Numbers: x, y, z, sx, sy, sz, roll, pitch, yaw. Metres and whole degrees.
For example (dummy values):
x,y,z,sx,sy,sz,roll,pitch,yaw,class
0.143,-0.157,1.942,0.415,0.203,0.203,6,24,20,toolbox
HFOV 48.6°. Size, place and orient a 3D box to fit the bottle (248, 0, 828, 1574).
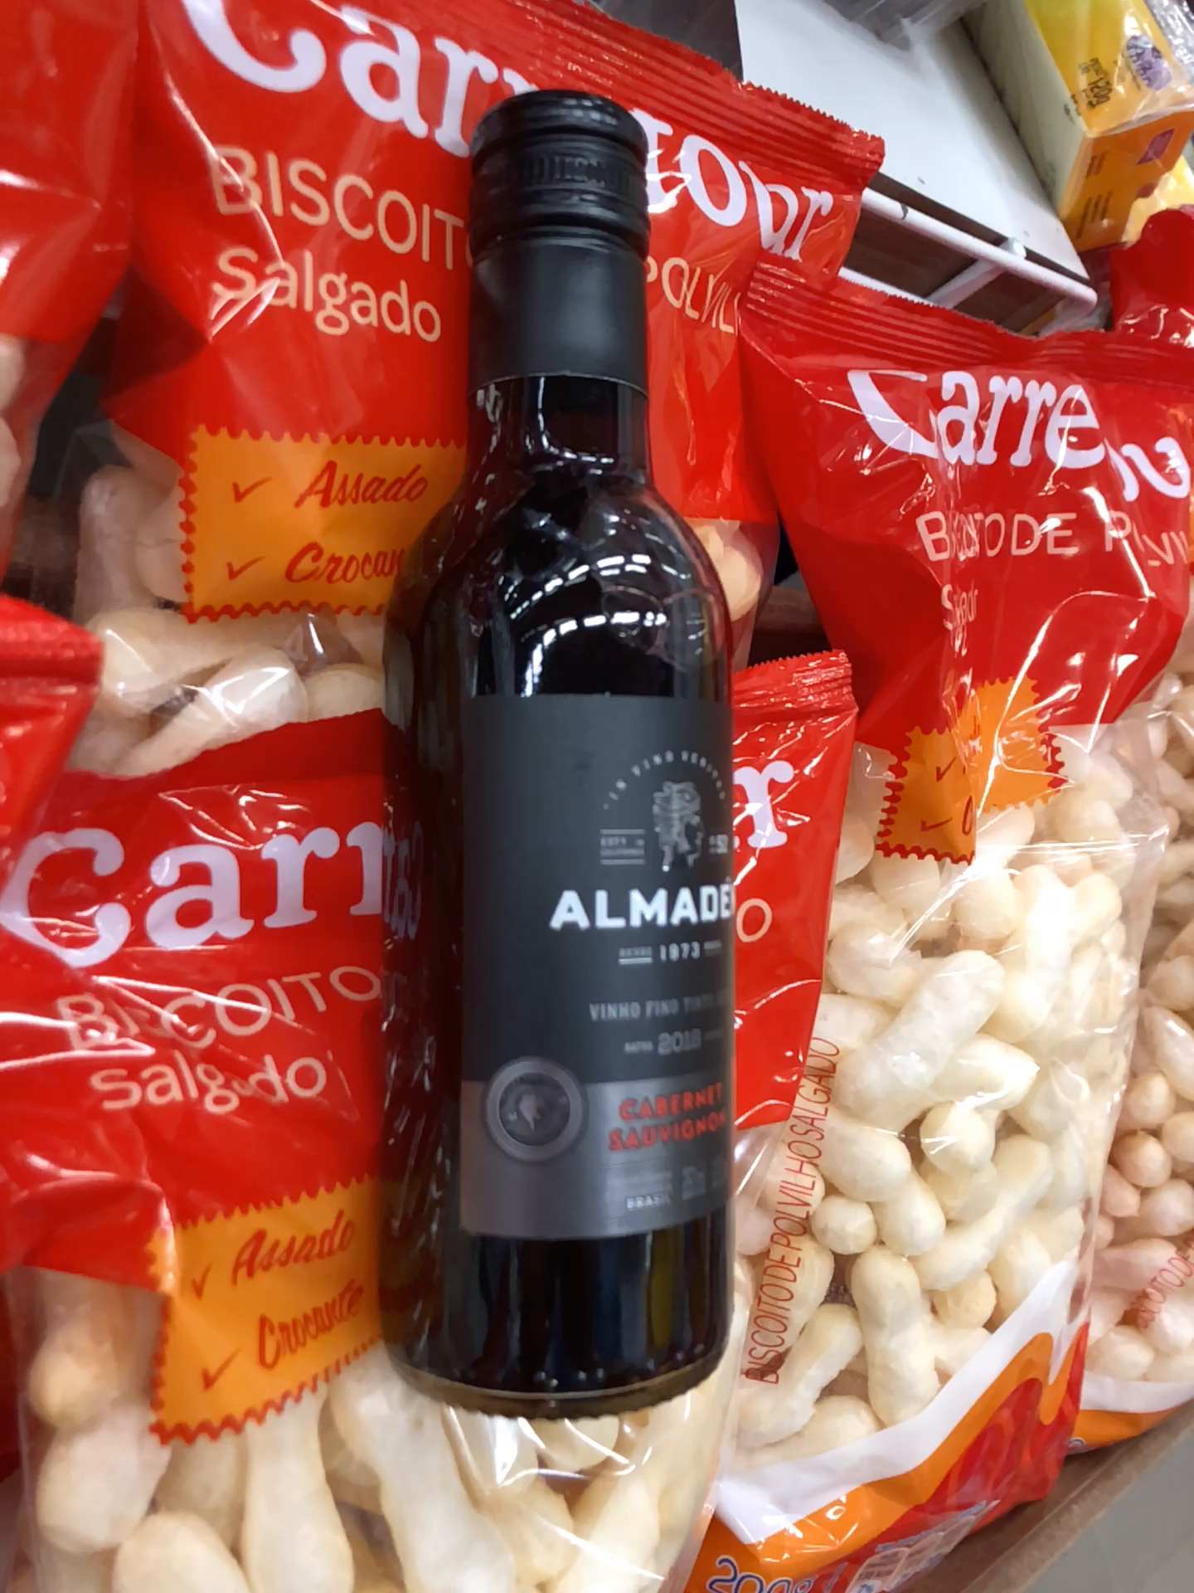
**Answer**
x,y,z,sx,sy,sz,roll,pitch,yaw,class
-0.012,-0.022,0.214,0.060,0.060,0.240,2,83,-43,bottle
